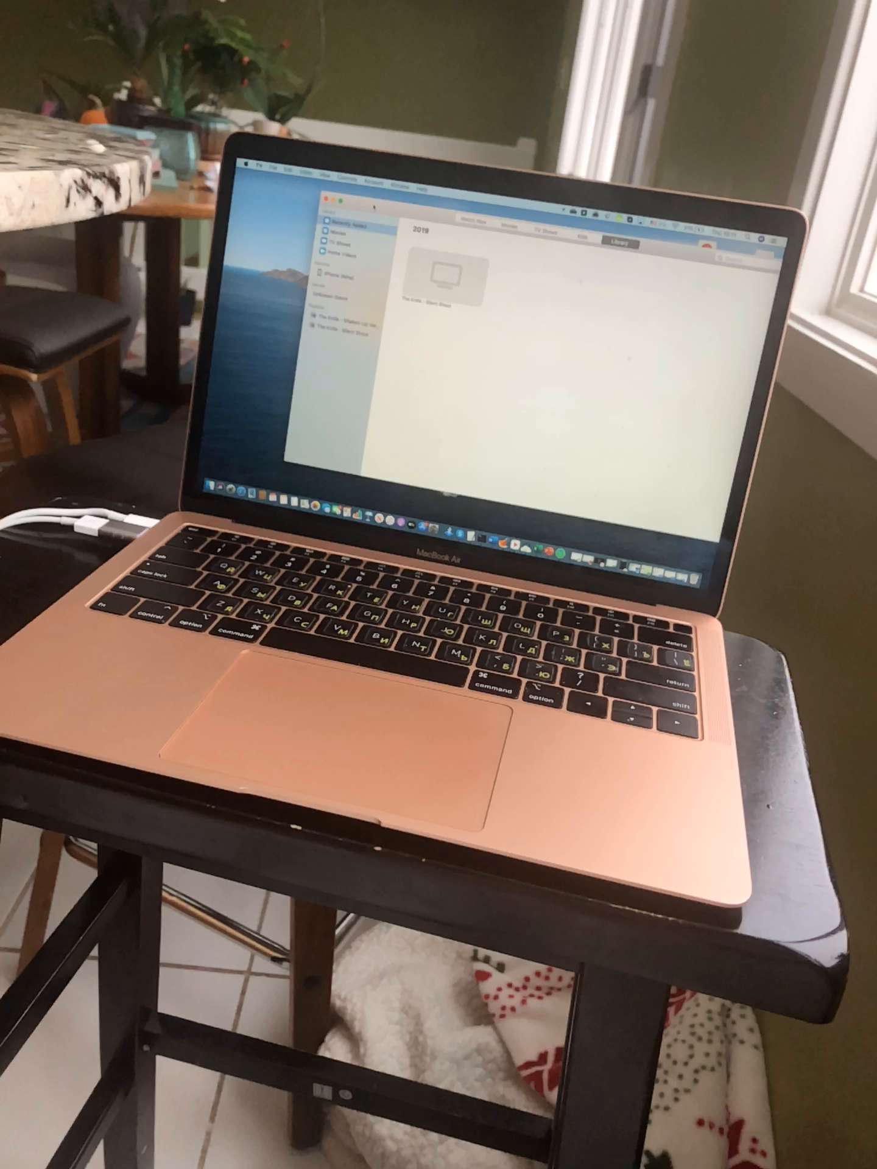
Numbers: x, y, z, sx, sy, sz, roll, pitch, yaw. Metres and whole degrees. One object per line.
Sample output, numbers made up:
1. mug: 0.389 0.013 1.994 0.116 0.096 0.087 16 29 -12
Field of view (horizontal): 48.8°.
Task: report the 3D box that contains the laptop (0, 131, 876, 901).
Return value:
1. laptop: -0.004 -0.068 0.415 0.297 0.196 0.265 11 26 8
